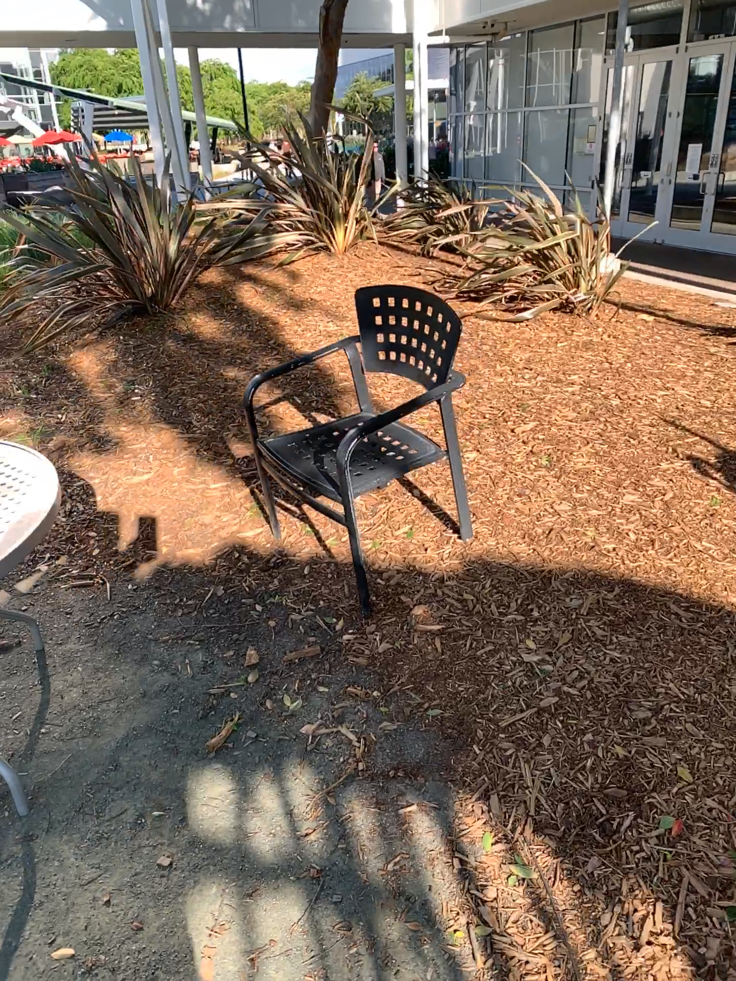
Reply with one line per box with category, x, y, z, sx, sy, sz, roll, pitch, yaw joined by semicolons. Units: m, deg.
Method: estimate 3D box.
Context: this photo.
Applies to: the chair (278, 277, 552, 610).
chair;0.122;-0.170;2.113;0.501;0.716;0.522;-18;30;-30
